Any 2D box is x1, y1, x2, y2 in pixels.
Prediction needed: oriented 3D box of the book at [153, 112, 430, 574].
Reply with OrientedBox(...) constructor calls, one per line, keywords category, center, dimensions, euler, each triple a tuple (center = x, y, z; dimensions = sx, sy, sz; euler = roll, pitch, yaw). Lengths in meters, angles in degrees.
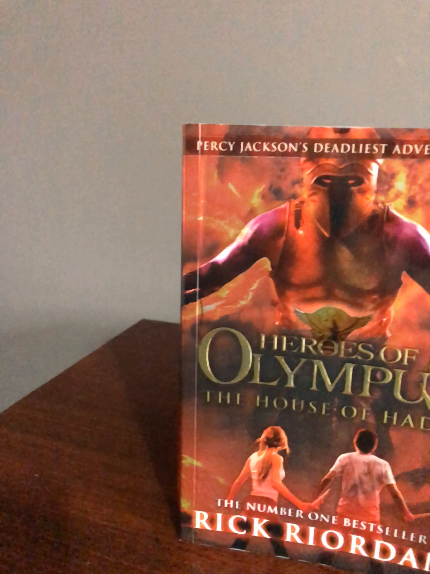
OrientedBox(category="book", center=(0.048, 0.027, 0.226), dimensions=(0.140, 0.199, 0.060), euler=(5, 15, 10))
